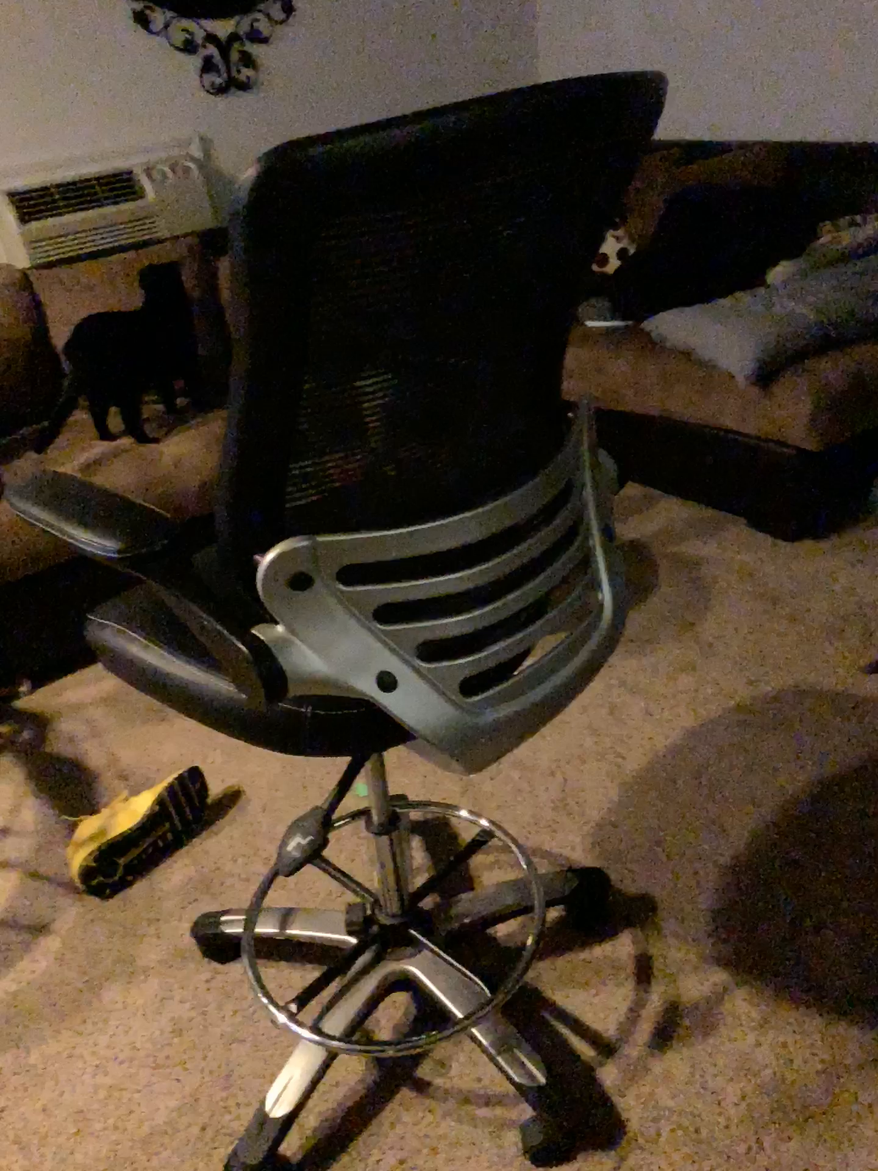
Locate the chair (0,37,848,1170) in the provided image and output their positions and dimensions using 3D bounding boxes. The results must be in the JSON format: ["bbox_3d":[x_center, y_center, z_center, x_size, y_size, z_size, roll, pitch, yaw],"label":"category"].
[{"bbox_3d":[-0.103,0.064,1.130,0.700,1.120,0.780,21,40,39],"label":"chair"}]
